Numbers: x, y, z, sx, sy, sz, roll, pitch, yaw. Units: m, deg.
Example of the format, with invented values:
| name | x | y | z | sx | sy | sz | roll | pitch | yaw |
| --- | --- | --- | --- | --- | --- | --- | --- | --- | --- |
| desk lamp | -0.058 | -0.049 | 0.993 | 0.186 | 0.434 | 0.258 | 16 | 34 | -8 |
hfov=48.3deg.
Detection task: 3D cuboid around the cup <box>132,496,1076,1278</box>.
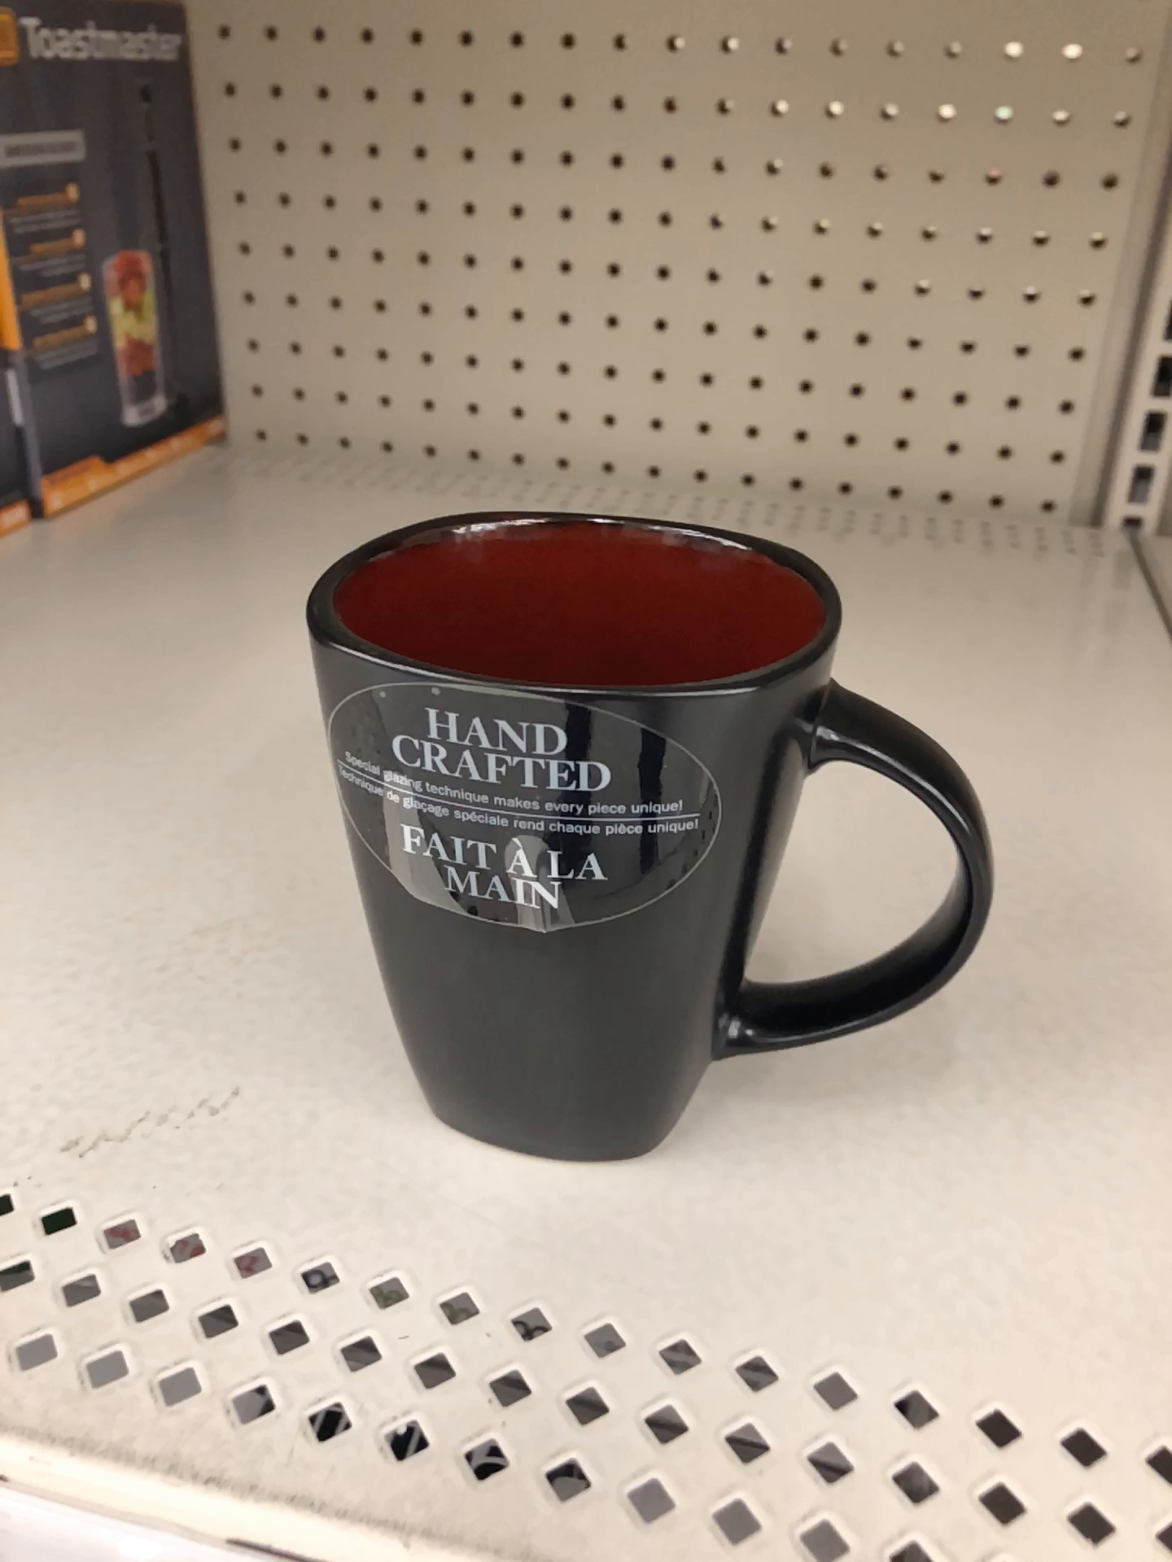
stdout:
| name | x | y | z | sx | sy | sz | roll | pitch | yaw |
| --- | --- | --- | --- | --- | --- | --- | --- | --- | --- |
| cup | 0.008 | 0.011 | 0.260 | 0.143 | 0.099 | 0.100 | 7 | 28 | 10 |
